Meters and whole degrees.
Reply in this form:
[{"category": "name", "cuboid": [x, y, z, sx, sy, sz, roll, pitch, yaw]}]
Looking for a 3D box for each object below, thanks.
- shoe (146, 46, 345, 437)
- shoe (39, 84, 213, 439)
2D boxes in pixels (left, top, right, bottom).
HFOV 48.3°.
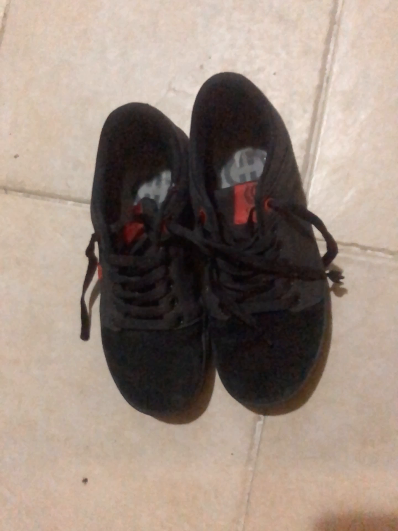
[{"category": "shoe", "cuboid": [0.036, -0.012, 0.333, 0.100, 0.100, 0.240, -7, 85, 12]}, {"category": "shoe", "cuboid": [-0.053, 0.000, 0.359, 0.100, 0.100, 0.240, -4, 86, 12]}]
